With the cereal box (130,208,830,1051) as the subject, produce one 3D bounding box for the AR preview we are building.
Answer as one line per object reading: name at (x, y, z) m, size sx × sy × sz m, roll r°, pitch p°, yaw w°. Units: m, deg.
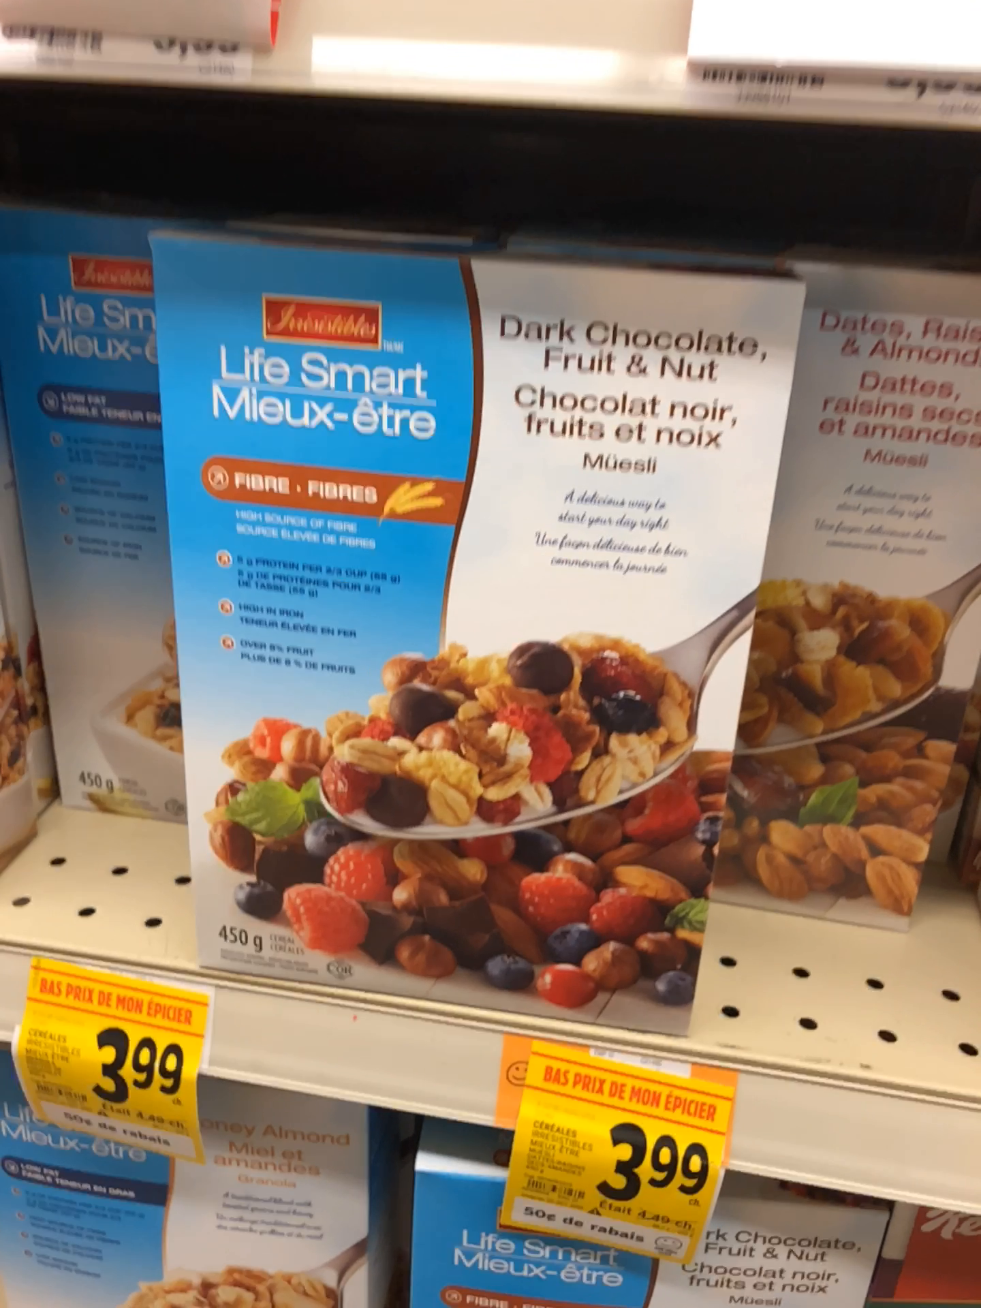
cereal box at (-0.008, -0.001, 0.332) m, size 0.170 × 0.238 × 0.050 m, roll 6°, pitch 24°, yaw 7°
